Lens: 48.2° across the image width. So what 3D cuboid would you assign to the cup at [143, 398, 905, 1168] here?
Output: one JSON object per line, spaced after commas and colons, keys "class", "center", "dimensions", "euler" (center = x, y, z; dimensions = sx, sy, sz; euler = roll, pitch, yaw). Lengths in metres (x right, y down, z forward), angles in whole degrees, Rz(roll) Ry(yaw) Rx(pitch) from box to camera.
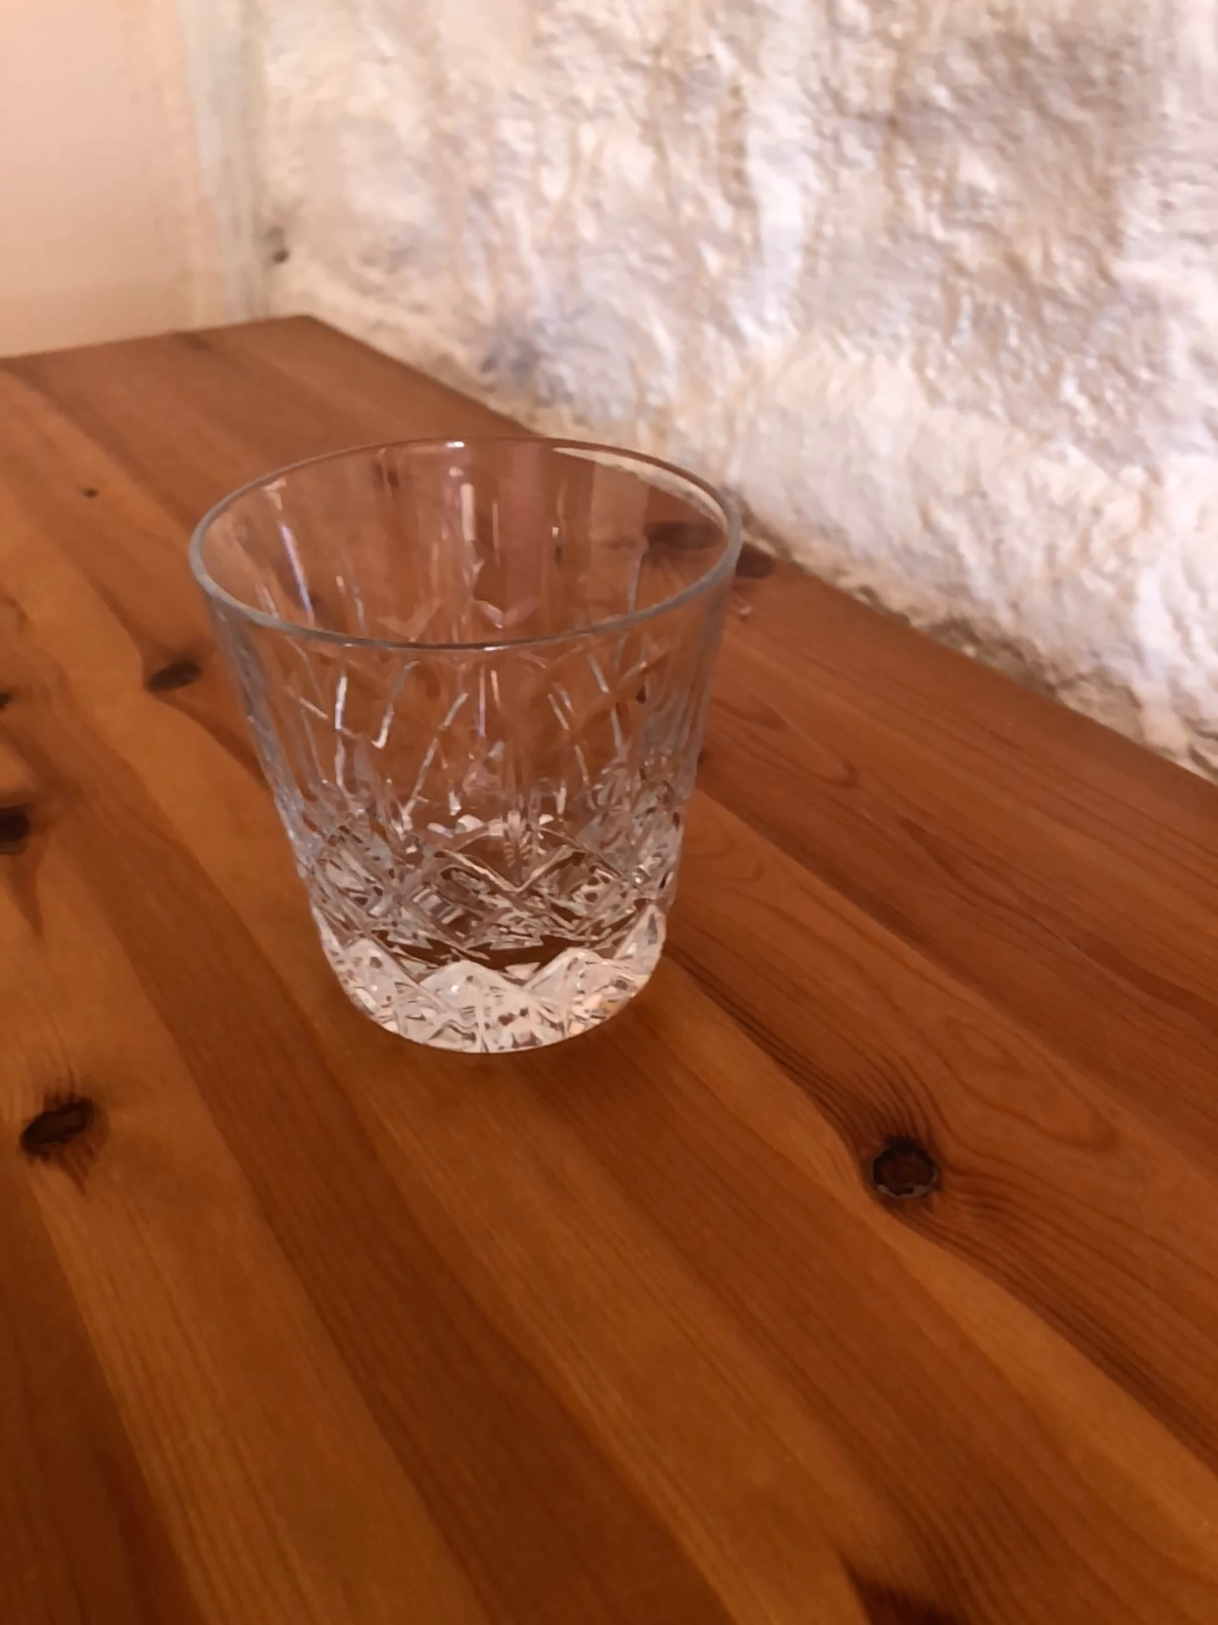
{"class": "cup", "center": [-0.014, -0.011, 0.203], "dimensions": [0.077, 0.068, 0.078], "euler": [-1, 34, 1]}
